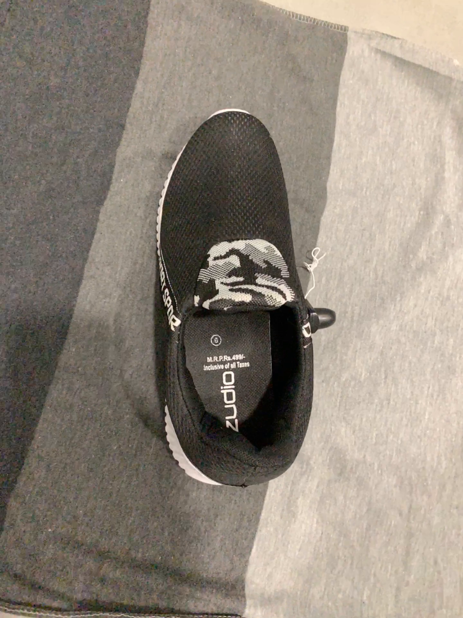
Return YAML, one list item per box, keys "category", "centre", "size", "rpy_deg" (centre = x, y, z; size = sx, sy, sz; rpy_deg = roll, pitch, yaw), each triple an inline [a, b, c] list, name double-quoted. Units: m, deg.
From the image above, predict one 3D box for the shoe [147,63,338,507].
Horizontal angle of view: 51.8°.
- category: "shoe"
  centre: [-0.001, -0.013, 0.310]
  size: [0.100, 0.100, 0.240]
  rpy_deg: [1, 82, -9]
